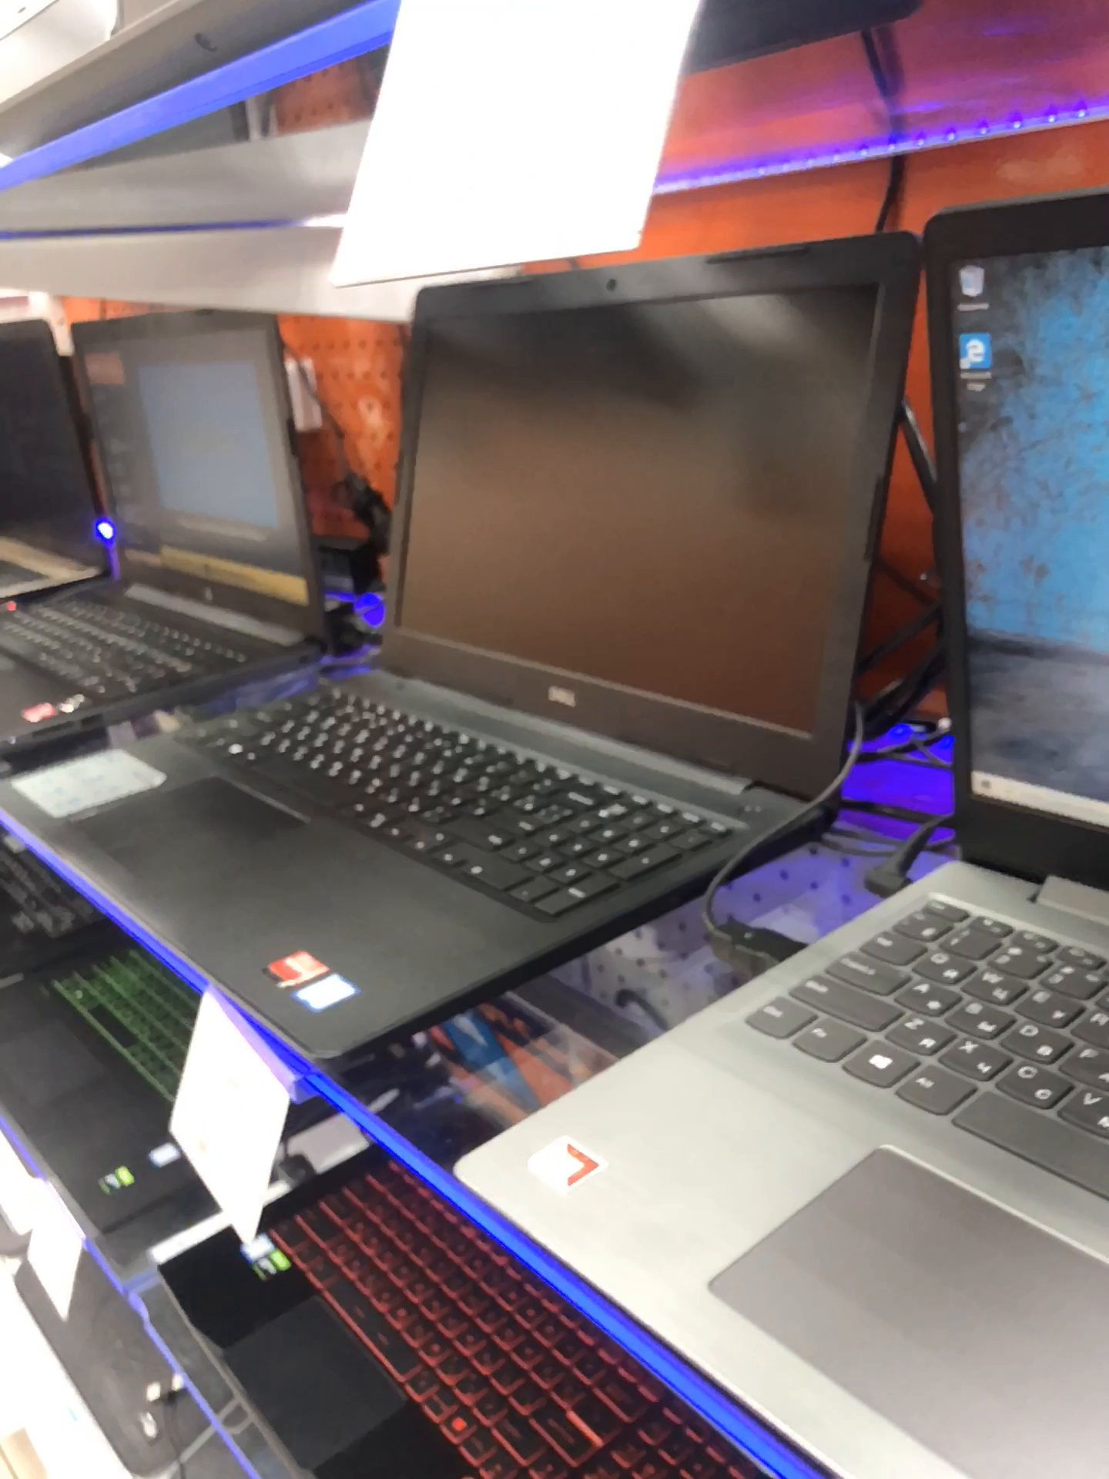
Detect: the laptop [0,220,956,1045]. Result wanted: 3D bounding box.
[{"bbox_3d":[-0.068,-0.095,0.587,0.316,0.233,0.374,-20,24,-36],"label":"laptop"}]
